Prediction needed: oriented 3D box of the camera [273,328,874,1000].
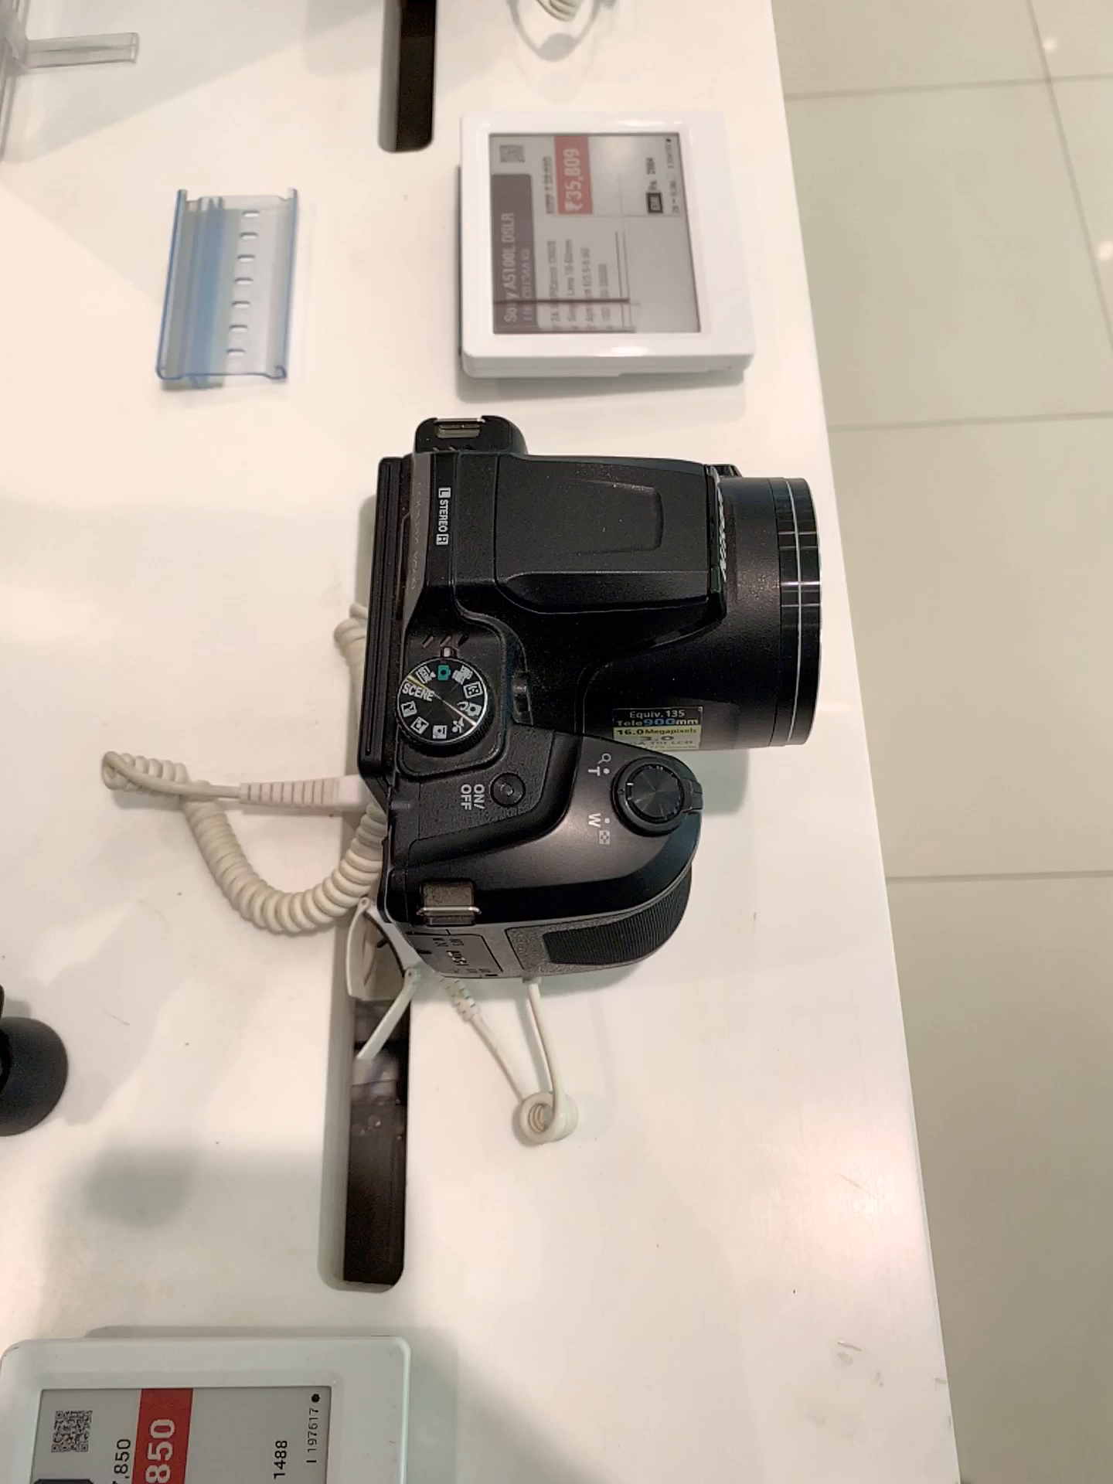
[{"bbox_3d":[0.004,-0.012,0.251,0.100,0.080,0.120,-2,67,3],"label":"camera"}]
